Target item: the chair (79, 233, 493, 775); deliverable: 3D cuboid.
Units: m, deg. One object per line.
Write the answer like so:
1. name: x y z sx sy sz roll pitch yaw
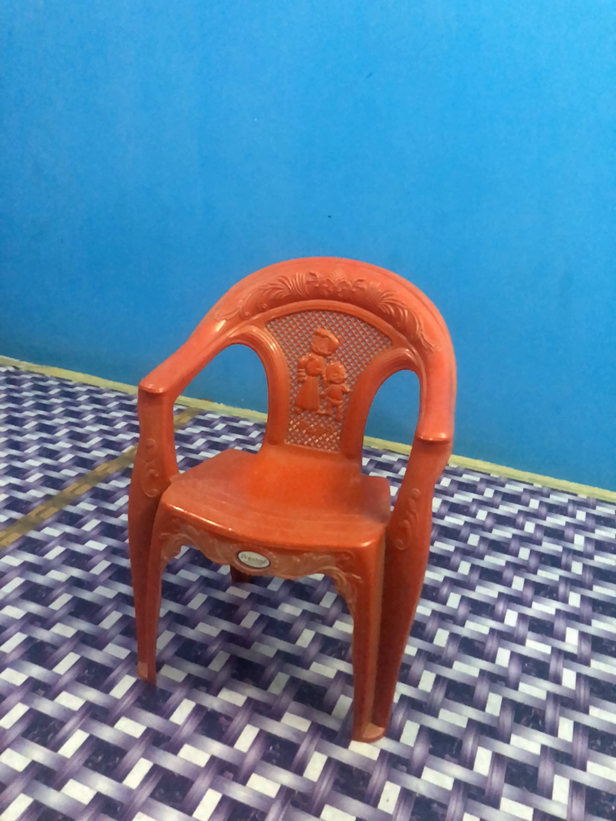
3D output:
1. chair: -0.012 0.086 0.941 0.410 0.557 0.382 11 24 14
